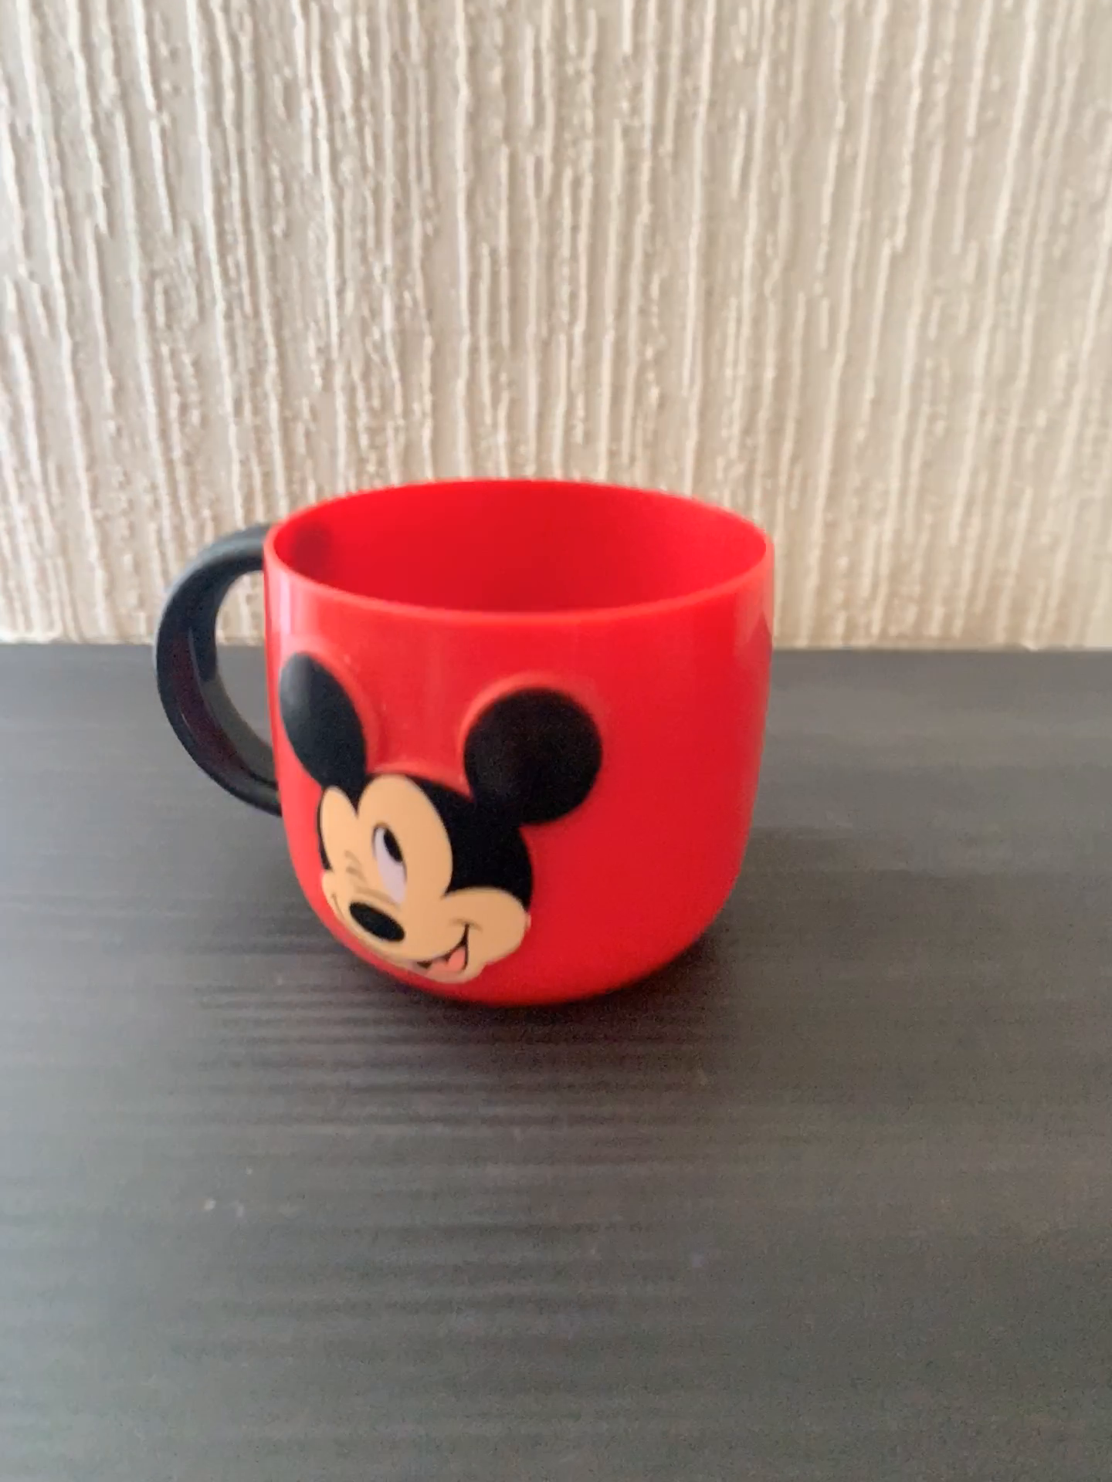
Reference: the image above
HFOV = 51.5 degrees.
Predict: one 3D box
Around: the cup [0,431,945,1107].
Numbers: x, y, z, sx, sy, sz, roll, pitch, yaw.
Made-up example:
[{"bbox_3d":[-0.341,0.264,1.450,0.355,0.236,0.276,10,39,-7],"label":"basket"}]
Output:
[{"bbox_3d":[-0.007,-0.007,0.208,0.130,0.069,0.101,7,25,11],"label":"cup"}]
